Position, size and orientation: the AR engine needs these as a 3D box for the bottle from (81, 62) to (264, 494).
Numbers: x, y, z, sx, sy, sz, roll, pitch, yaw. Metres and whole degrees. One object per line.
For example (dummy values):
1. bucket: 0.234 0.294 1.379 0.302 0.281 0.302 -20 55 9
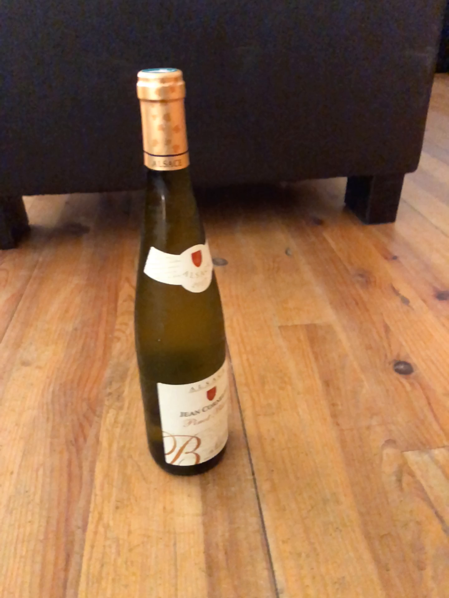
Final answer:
1. bottle: -0.029 -0.003 0.384 0.080 0.318 0.080 -1 30 1
